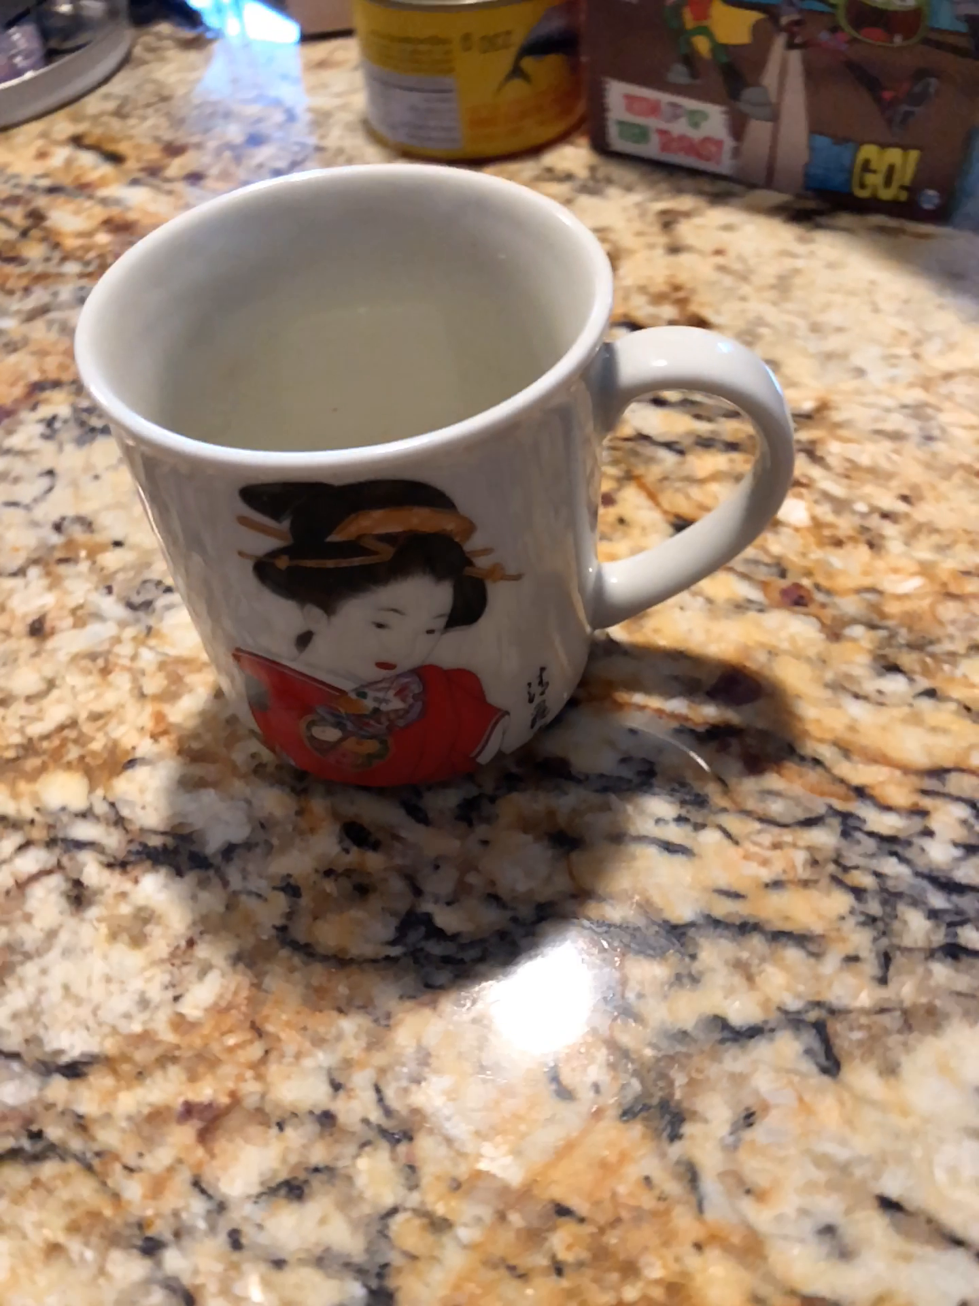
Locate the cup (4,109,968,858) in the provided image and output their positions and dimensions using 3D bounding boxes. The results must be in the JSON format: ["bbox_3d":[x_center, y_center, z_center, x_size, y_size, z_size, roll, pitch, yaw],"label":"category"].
[{"bbox_3d":[0.000,-0.029,0.199,0.120,0.089,0.091,-4,49,1],"label":"cup"}]
